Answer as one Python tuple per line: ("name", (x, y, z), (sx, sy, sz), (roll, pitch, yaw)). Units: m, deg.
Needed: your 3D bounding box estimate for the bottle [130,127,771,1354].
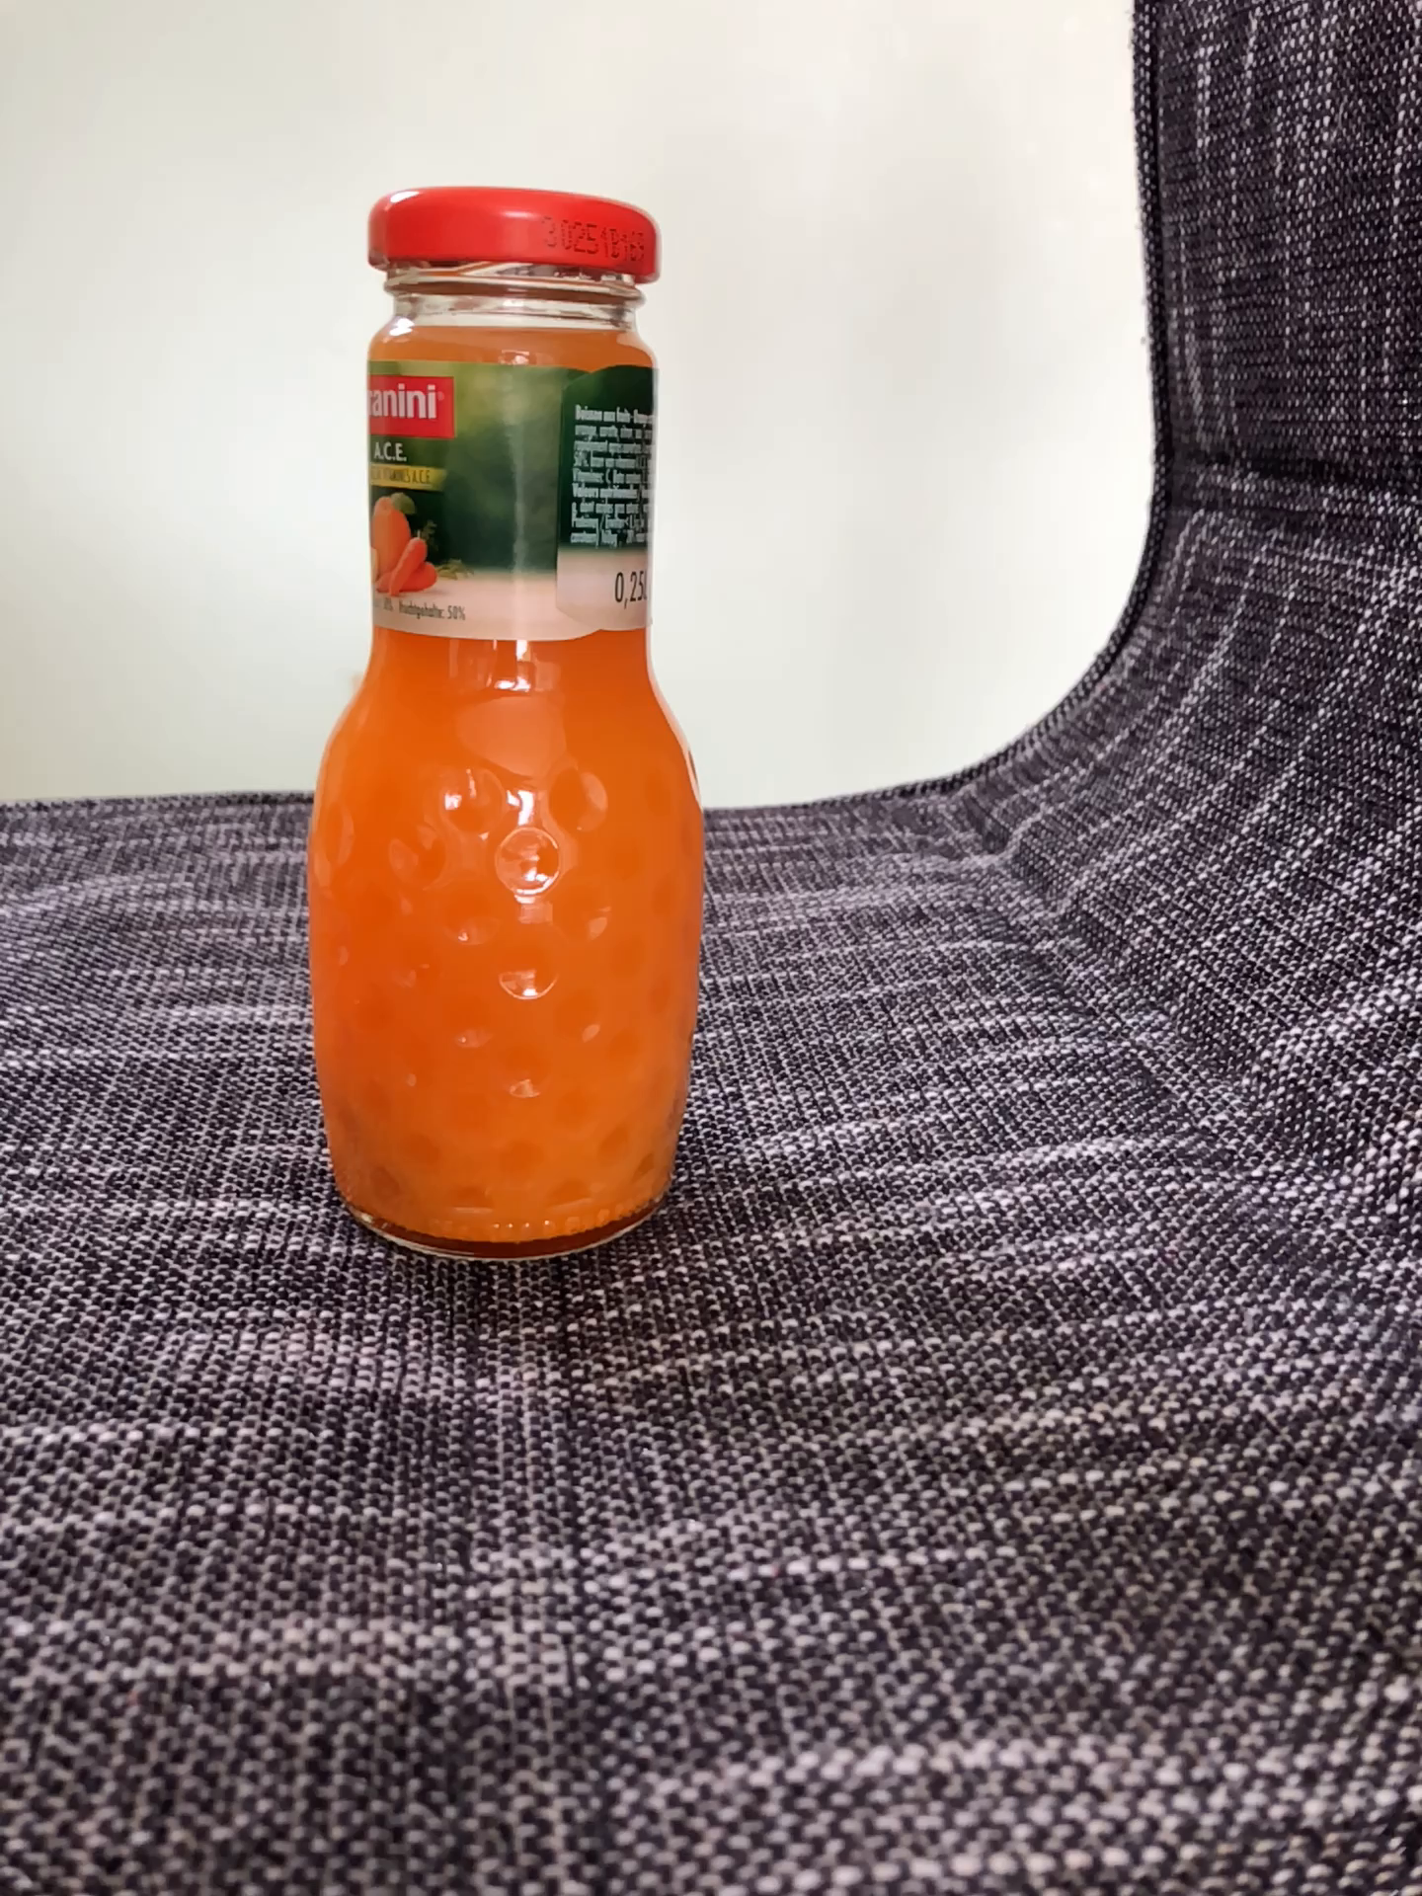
("bottle", (-0.036, -0.031, 0.234), (0.060, 0.149, 0.070), (-13, 22, -33))
